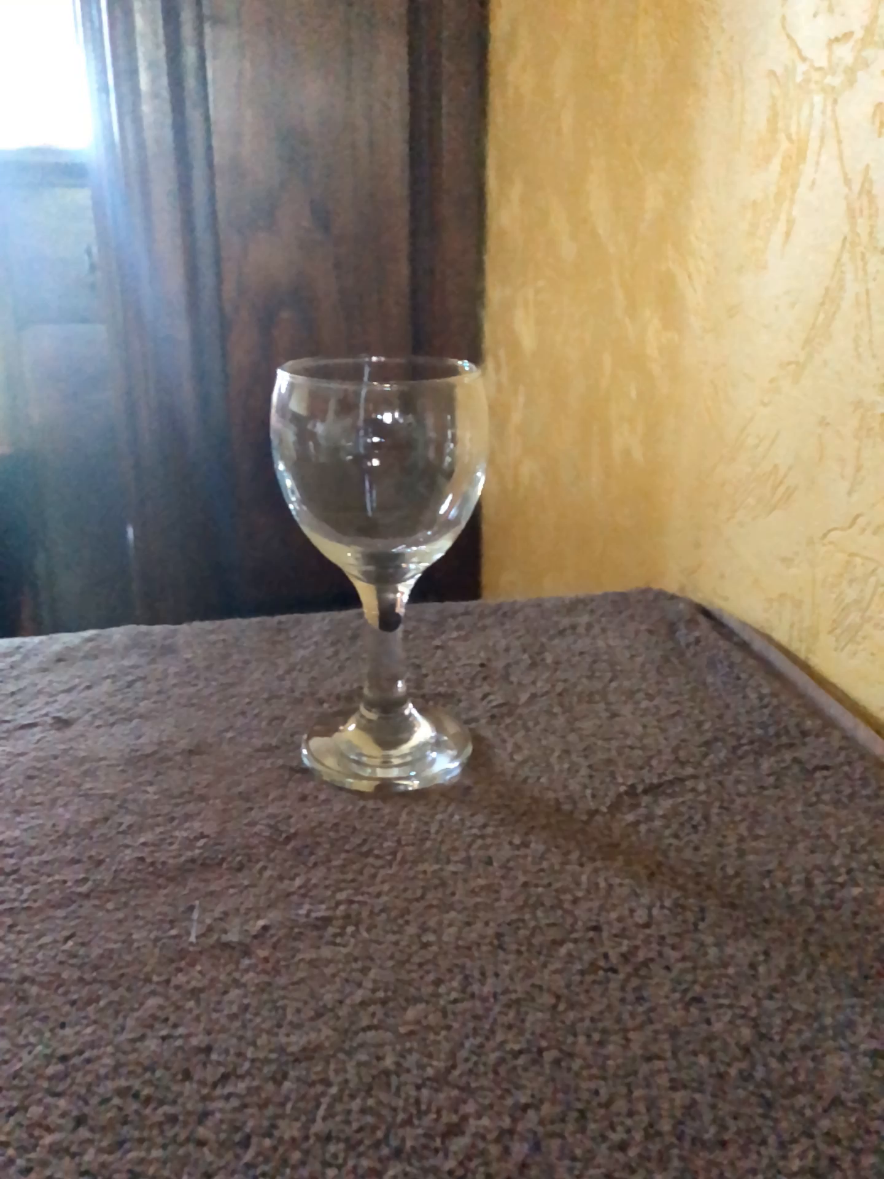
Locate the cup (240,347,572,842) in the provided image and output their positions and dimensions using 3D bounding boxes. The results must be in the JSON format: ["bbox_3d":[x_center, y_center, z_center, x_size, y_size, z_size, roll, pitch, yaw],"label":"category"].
[{"bbox_3d":[-0.012,-0.005,0.307,0.070,0.129,0.070,0,19,0],"label":"cup"}]
